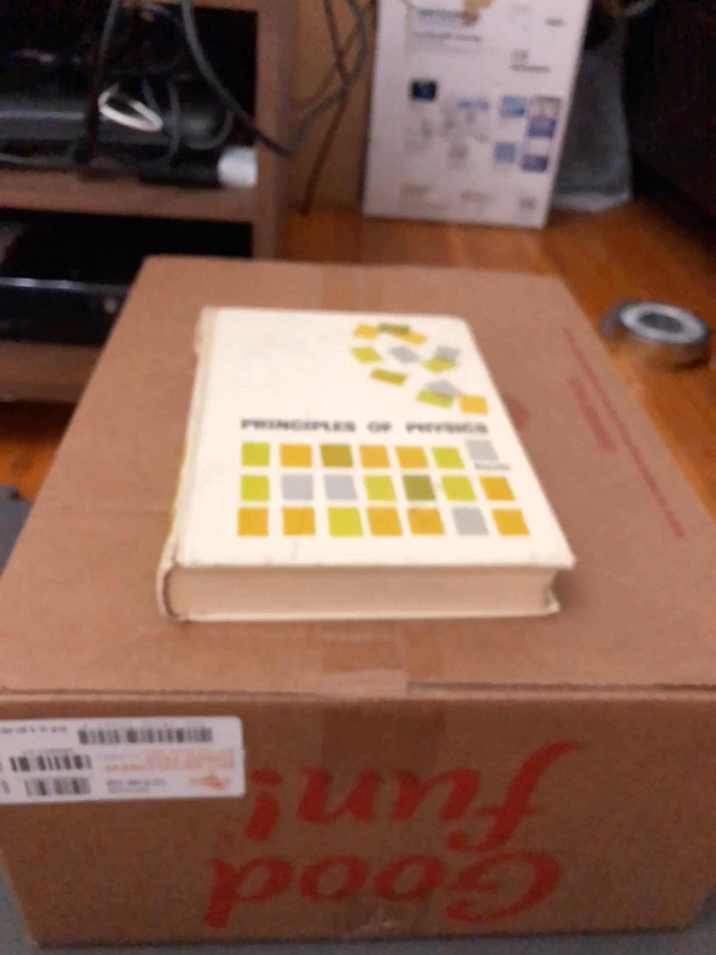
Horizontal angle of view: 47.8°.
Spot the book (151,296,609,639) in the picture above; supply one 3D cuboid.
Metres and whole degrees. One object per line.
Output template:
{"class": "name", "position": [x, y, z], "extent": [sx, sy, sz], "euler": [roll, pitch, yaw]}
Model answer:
{"class": "book", "position": [0.000, -0.023, 0.428], "extent": [0.180, 0.040, 0.251], "euler": [1, 36, -6]}
